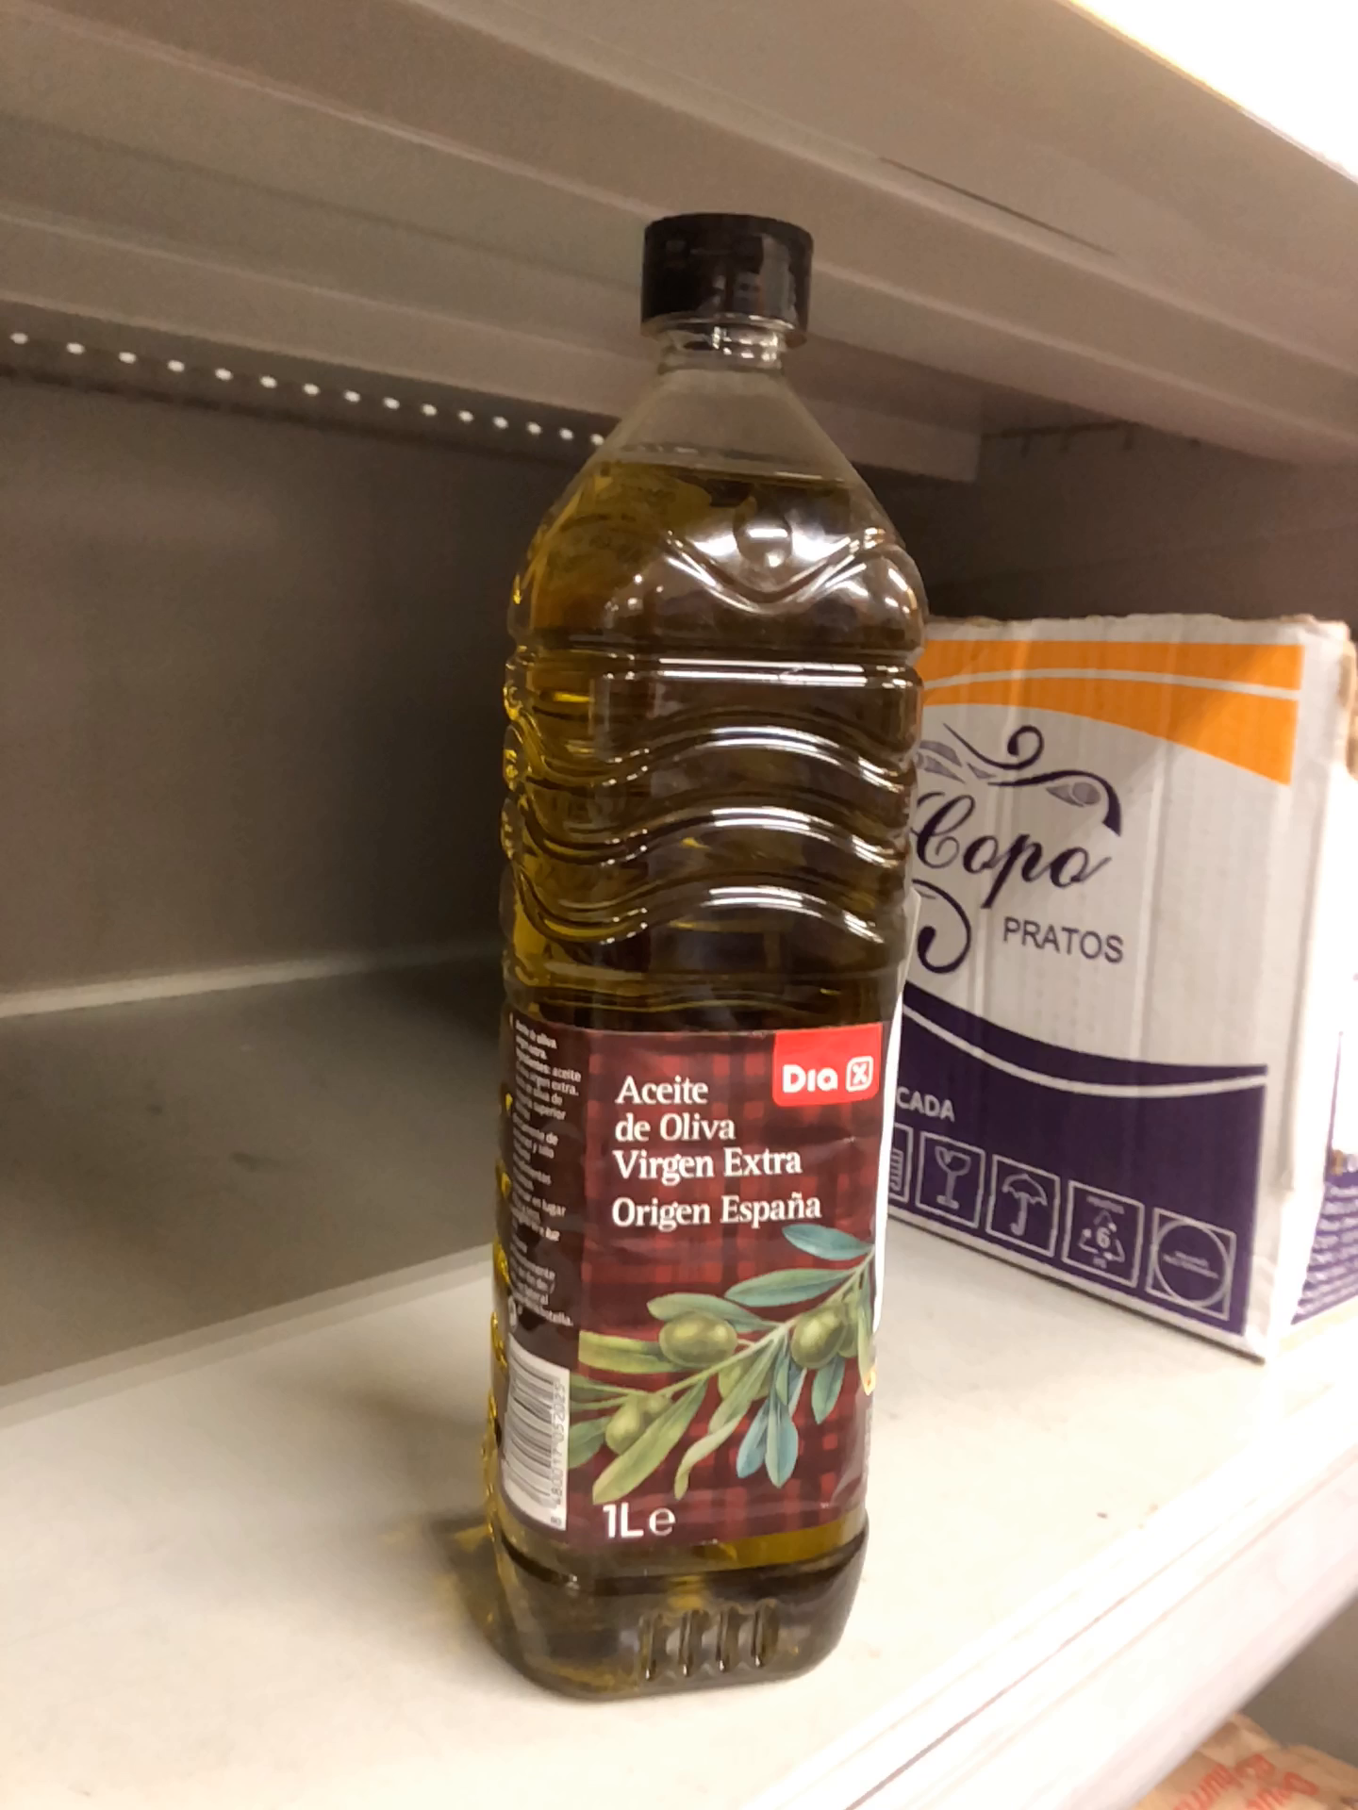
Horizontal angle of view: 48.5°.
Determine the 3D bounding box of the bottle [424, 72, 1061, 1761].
[{"bbox_3d":[0.003,0.008,0.290,0.080,0.279,0.070,2,9,-17],"label":"bottle"}]
